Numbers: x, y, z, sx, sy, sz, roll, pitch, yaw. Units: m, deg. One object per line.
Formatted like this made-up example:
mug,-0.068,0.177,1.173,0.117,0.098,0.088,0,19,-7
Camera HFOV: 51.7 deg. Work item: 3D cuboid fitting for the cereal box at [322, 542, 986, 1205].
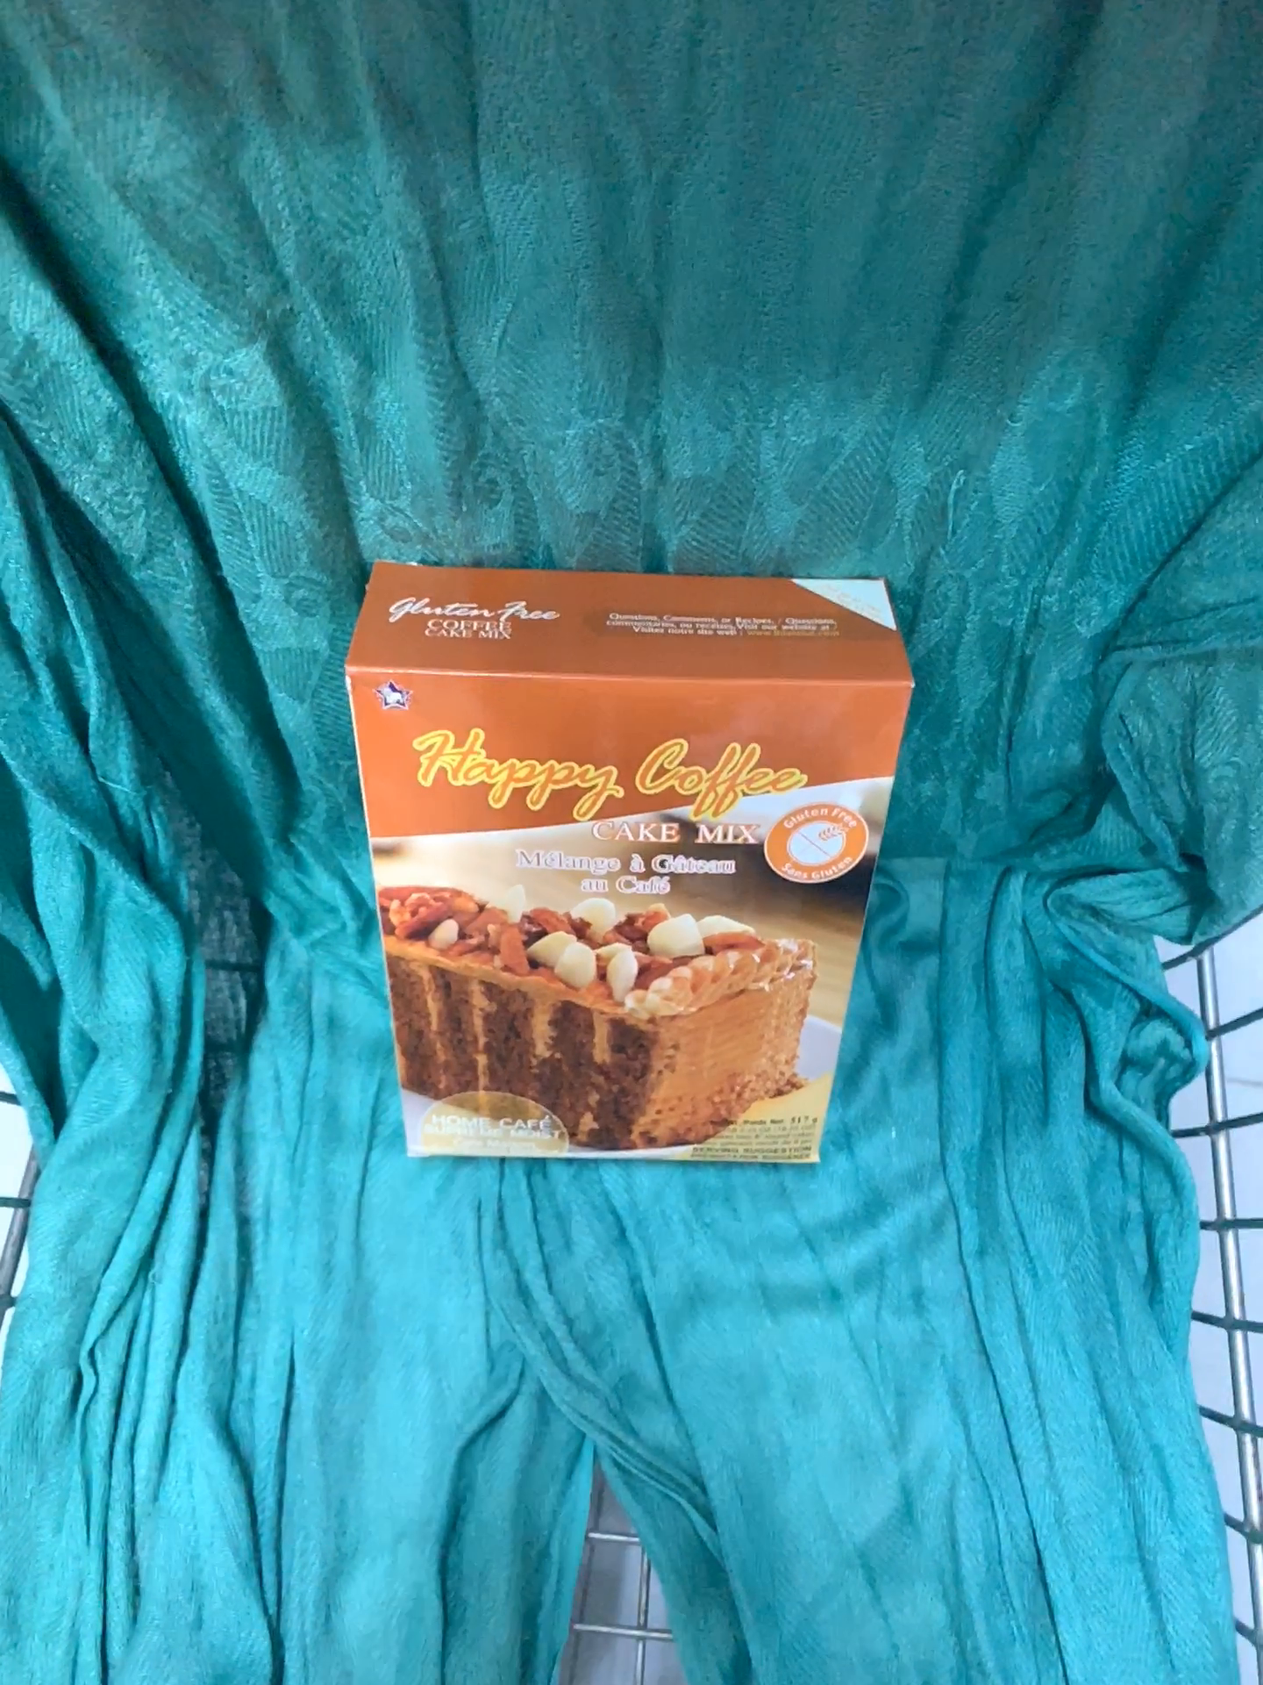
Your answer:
cereal box,0.001,0.022,0.381,0.150,0.210,0.050,2,40,-2
